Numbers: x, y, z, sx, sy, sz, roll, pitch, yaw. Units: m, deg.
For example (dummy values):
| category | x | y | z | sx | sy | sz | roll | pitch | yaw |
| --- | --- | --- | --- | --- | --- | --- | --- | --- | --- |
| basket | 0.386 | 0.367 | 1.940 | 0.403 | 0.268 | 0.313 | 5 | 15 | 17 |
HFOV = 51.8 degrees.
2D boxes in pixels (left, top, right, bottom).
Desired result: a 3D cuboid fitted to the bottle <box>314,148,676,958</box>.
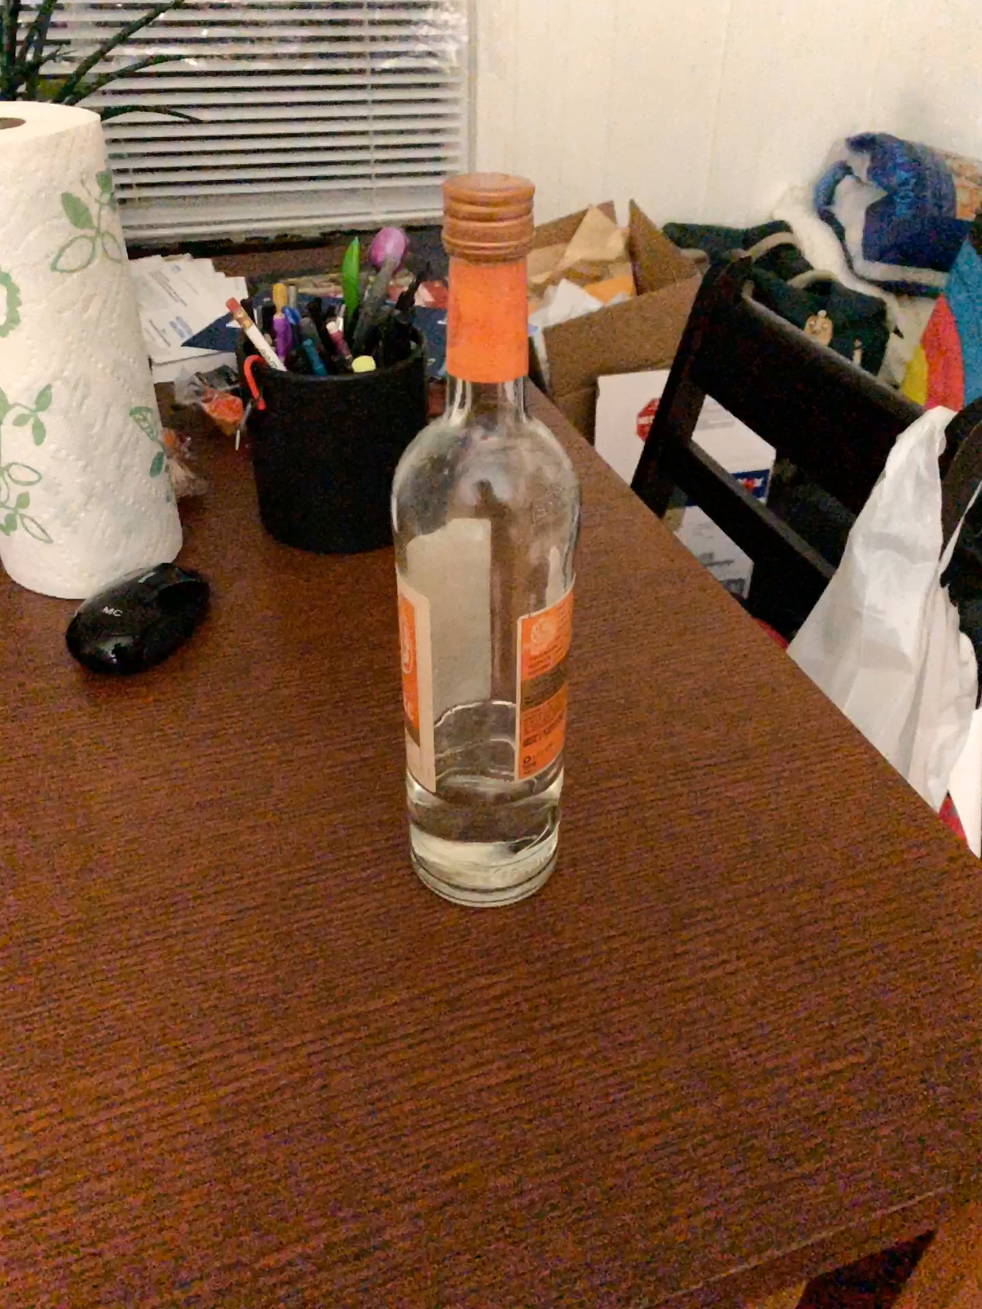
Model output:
| category | x | y | z | sx | sy | sz | roll | pitch | yaw |
| --- | --- | --- | --- | --- | --- | --- | --- | --- | --- |
| bottle | 0.003 | -0.023 | 0.396 | 0.080 | 0.298 | 0.090 | 16 | 39 | 19 |
